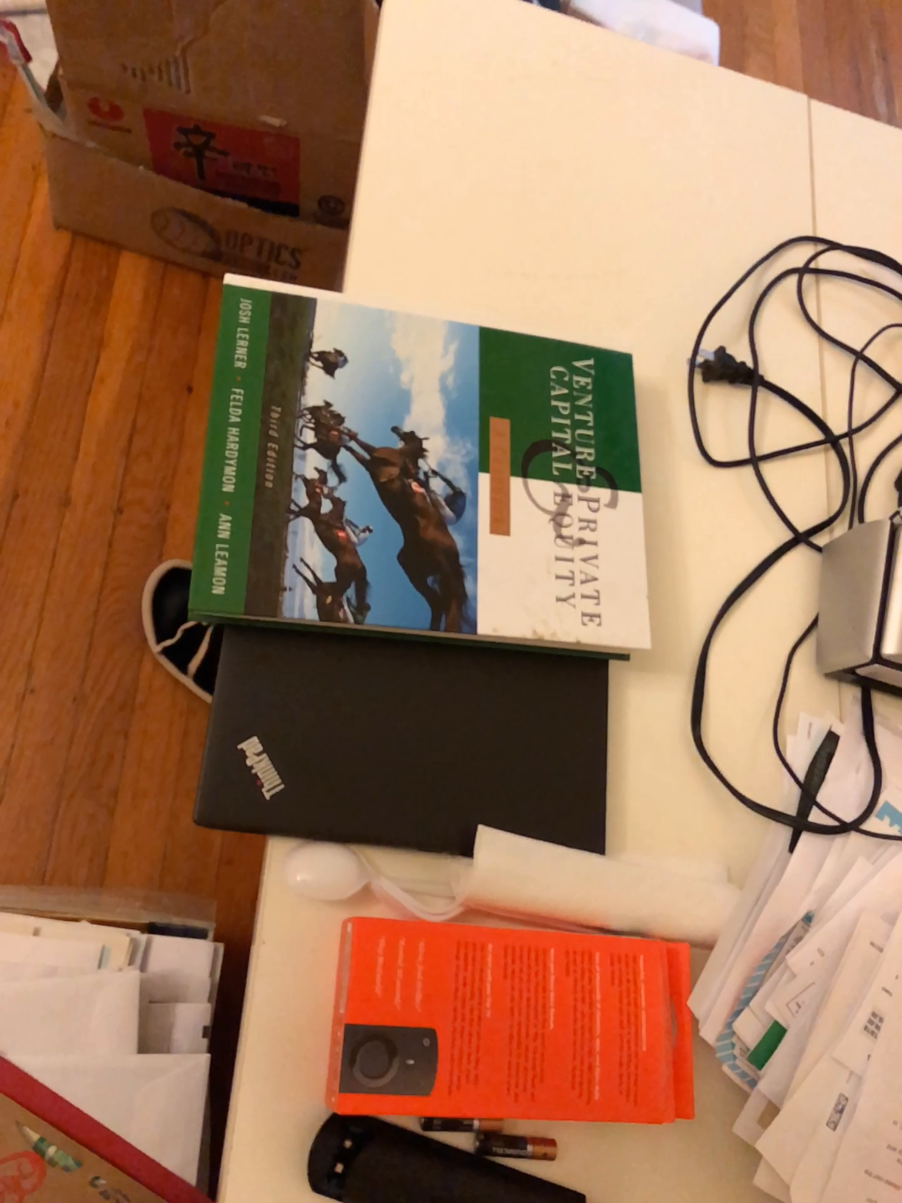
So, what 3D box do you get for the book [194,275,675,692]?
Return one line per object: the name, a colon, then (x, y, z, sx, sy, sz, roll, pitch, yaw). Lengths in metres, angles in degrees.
book: (-0.003, -0.067, 0.592, 0.270, 0.030, 0.220, 6, 71, -15)
